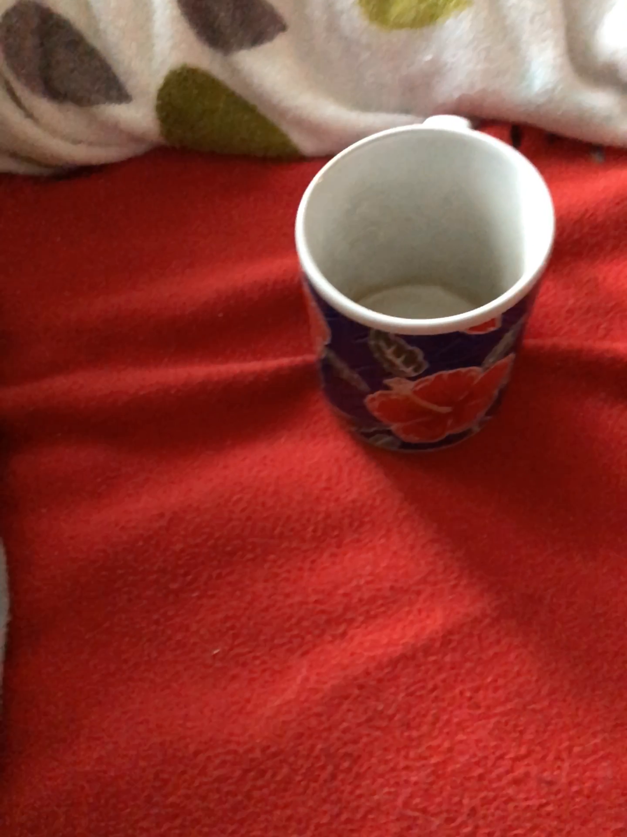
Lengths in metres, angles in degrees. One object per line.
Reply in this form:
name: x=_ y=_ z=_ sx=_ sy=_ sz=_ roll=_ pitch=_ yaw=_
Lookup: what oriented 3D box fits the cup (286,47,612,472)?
cup: x=0.046 y=-0.055 z=0.268 sx=0.090 sy=0.100 sz=0.121 roll=0 pitch=61 yaw=8
